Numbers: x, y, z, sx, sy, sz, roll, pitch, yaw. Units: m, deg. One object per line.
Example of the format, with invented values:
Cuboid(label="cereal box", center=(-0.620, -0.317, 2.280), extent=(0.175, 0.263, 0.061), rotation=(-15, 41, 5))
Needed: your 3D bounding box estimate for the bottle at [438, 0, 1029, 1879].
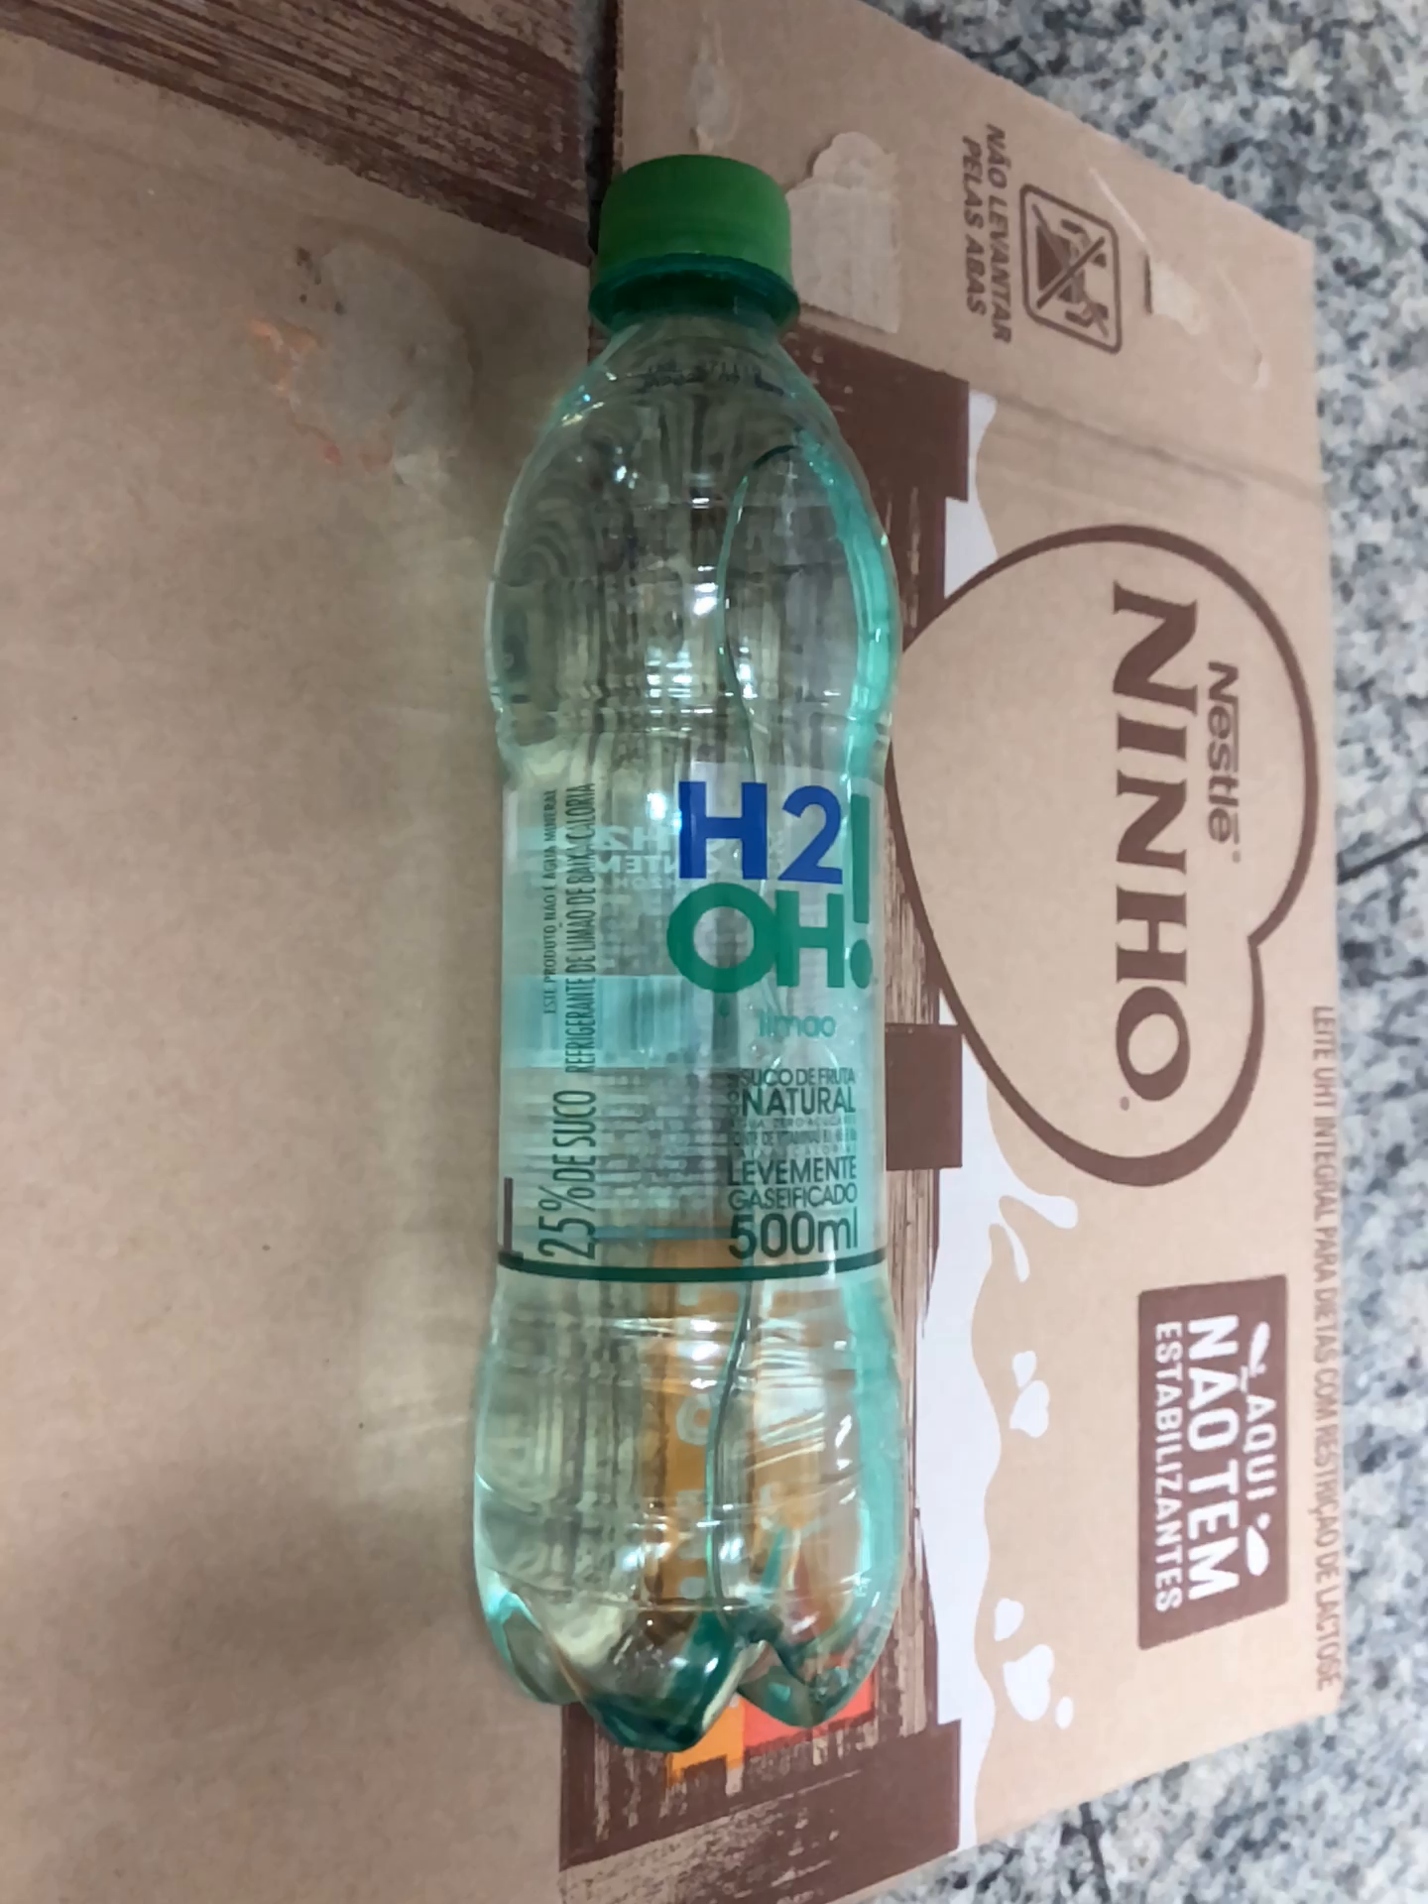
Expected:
Cuboid(label="bottle", center=(0.003, -0.011, 0.241), extent=(0.070, 0.050, 0.250), rotation=(4, 84, -40))
